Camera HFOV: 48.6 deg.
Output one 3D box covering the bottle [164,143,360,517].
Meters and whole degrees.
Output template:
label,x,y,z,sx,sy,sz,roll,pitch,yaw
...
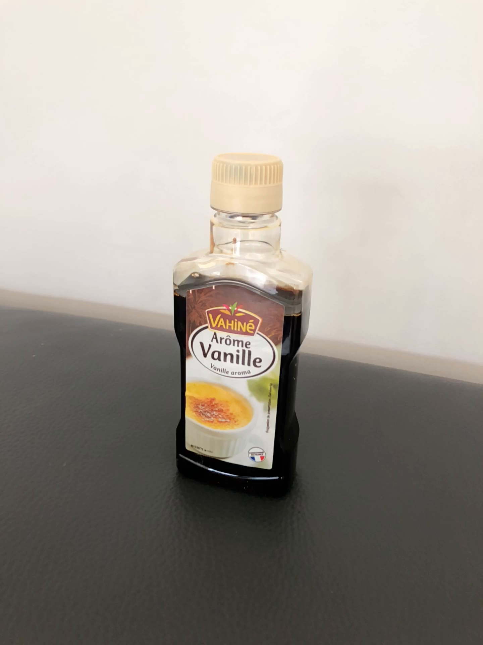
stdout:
label,x,y,z,sx,sy,sz,roll,pitch,yaw
bottle,0.005,0.006,0.247,0.070,0.159,0.040,10,25,13
